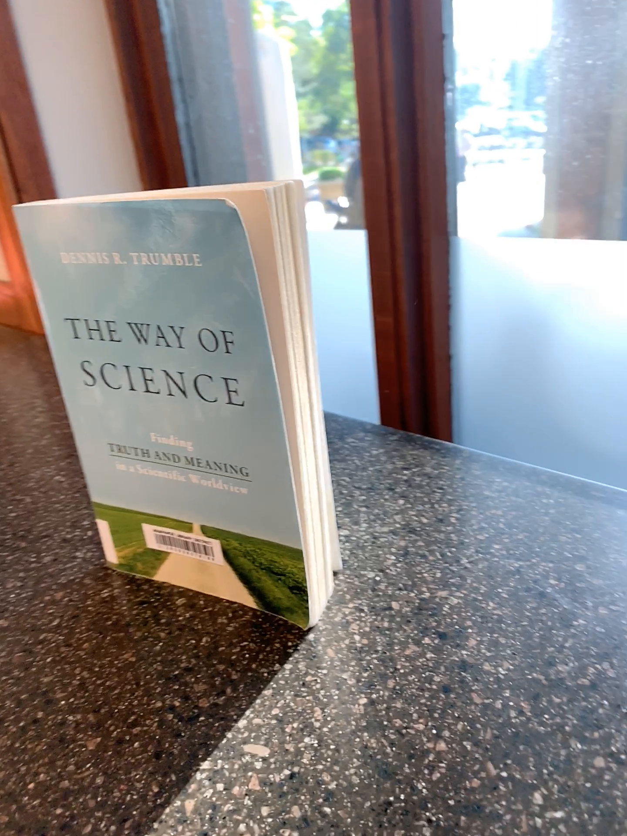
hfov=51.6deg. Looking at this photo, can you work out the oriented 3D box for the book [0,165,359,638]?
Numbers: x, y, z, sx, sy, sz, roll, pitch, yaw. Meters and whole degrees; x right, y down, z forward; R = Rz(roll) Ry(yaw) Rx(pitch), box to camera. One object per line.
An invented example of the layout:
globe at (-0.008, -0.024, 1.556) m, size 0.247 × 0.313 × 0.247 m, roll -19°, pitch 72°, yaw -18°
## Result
book at (-0.069, -0.007, 0.338) m, size 0.167 × 0.219 × 0.040 m, roll 7°, pitch 26°, yaw 28°
